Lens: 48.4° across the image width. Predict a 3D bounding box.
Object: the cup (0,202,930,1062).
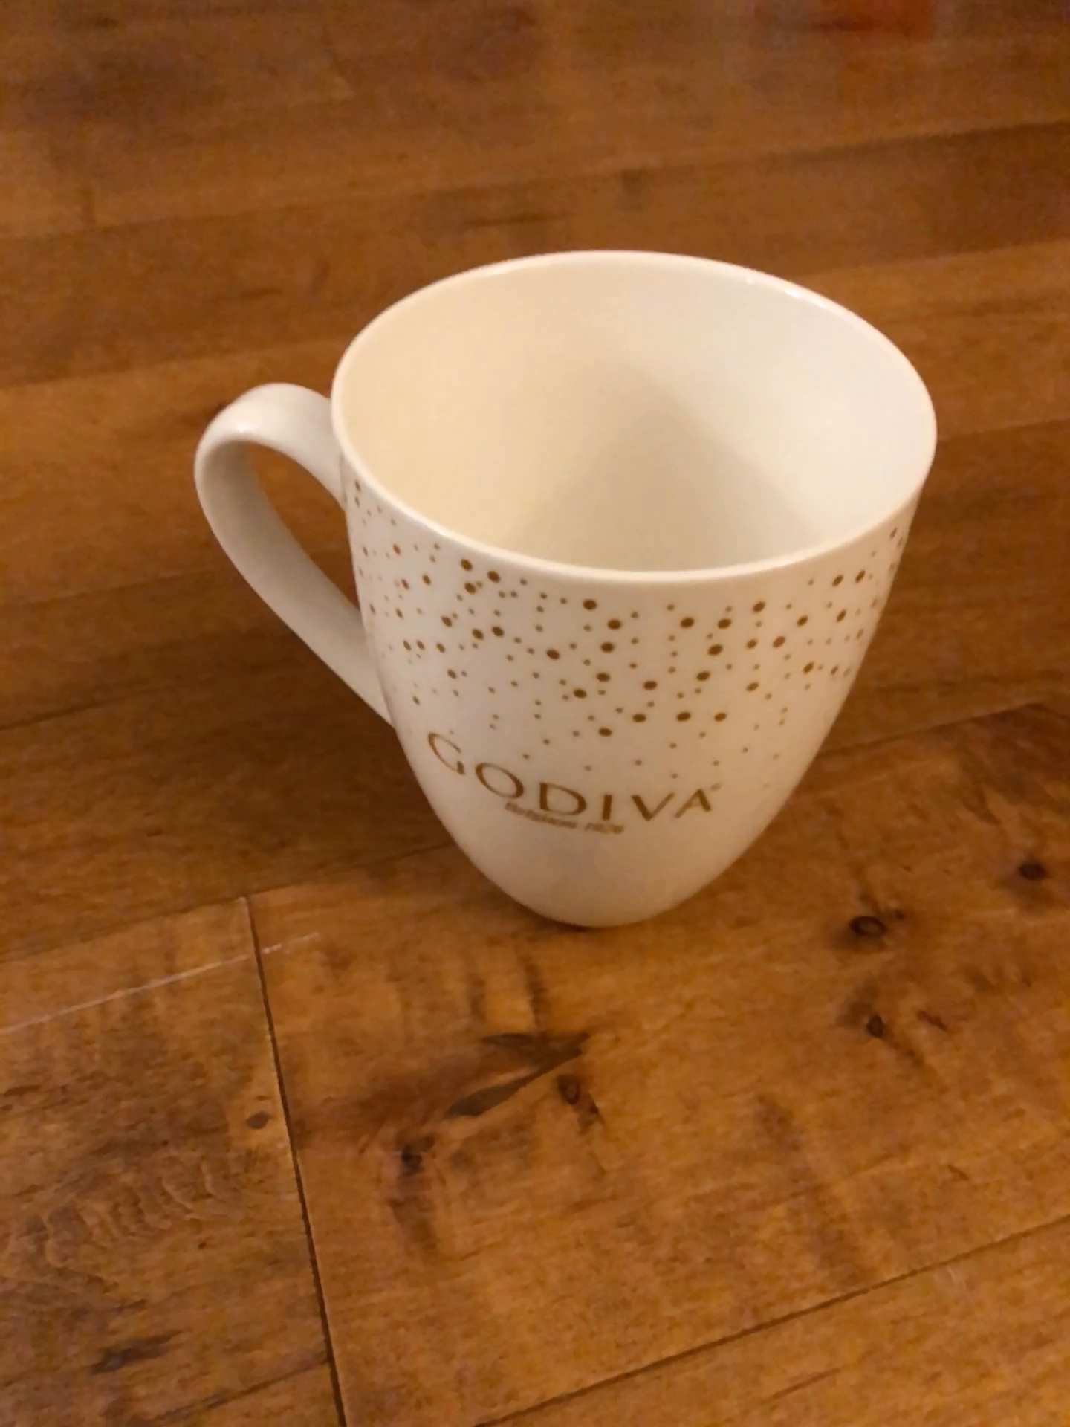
[{"bbox_3d":[-0.006,-0.021,0.249,0.140,0.109,0.111,12,47,11],"label":"cup"}]
